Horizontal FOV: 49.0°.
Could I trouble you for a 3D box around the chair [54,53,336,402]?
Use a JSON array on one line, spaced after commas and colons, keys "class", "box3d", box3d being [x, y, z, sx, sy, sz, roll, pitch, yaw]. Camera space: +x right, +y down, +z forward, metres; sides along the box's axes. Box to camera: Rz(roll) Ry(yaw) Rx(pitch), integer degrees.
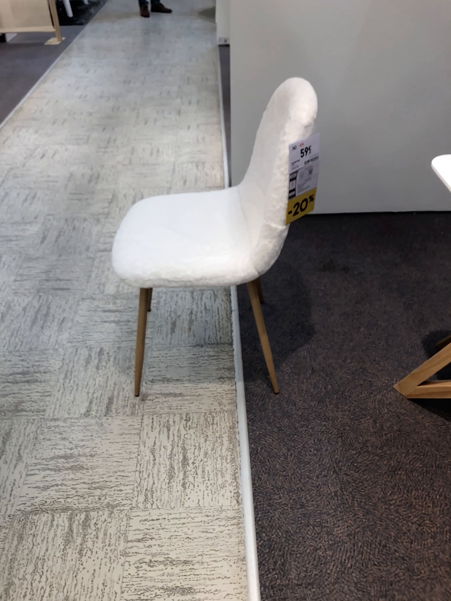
[{"class": "chair", "box3d": [-0.067, -0.196, 1.424, 0.550, 0.815, 0.523, -3, 39, -3]}]
